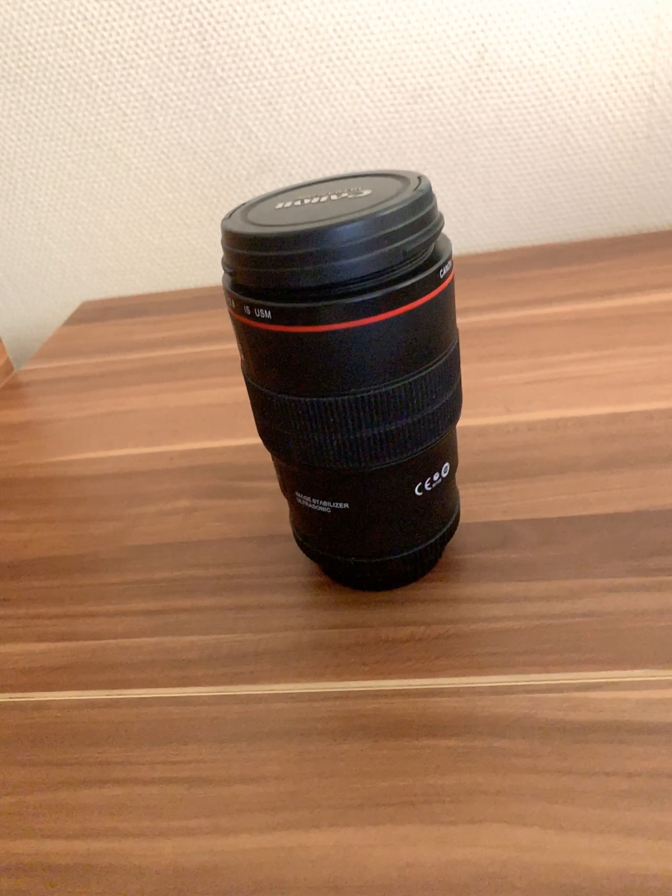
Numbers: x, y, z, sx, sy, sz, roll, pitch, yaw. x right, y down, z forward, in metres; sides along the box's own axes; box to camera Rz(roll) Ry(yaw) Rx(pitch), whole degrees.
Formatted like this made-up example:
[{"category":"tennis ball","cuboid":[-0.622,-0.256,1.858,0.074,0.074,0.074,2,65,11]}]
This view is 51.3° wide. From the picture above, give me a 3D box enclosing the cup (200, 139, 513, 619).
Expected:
[{"category":"cup","cuboid":[0.010,-0.023,0.249,0.080,0.139,0.070,-14,34,-5]}]
